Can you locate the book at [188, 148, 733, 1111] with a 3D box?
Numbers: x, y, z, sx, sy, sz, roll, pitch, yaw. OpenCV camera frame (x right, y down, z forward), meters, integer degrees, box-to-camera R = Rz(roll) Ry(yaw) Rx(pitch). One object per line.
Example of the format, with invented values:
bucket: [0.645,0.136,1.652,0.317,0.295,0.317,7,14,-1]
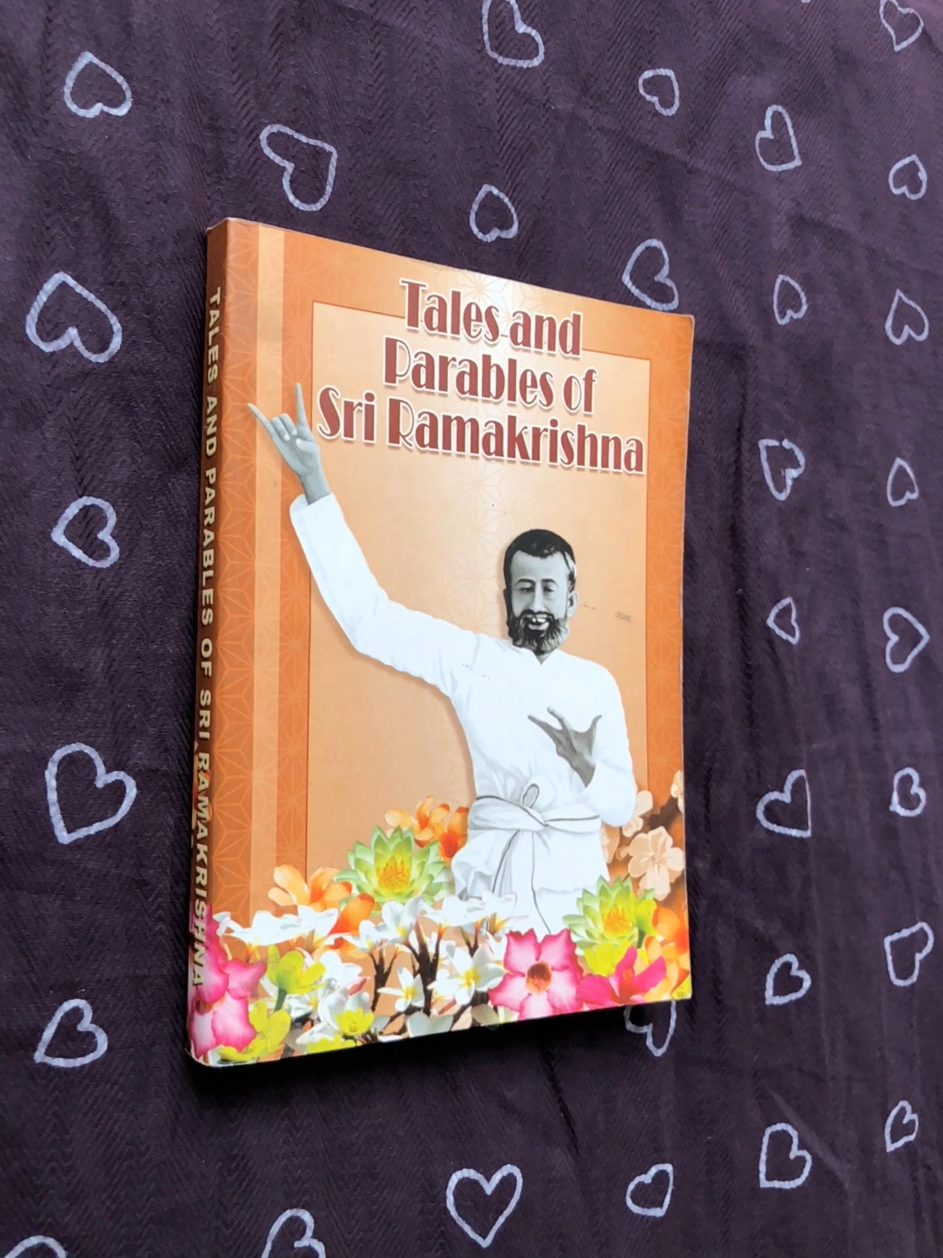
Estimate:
book: [0.004,0.000,0.247,0.130,0.020,0.190,2,86,-28]
